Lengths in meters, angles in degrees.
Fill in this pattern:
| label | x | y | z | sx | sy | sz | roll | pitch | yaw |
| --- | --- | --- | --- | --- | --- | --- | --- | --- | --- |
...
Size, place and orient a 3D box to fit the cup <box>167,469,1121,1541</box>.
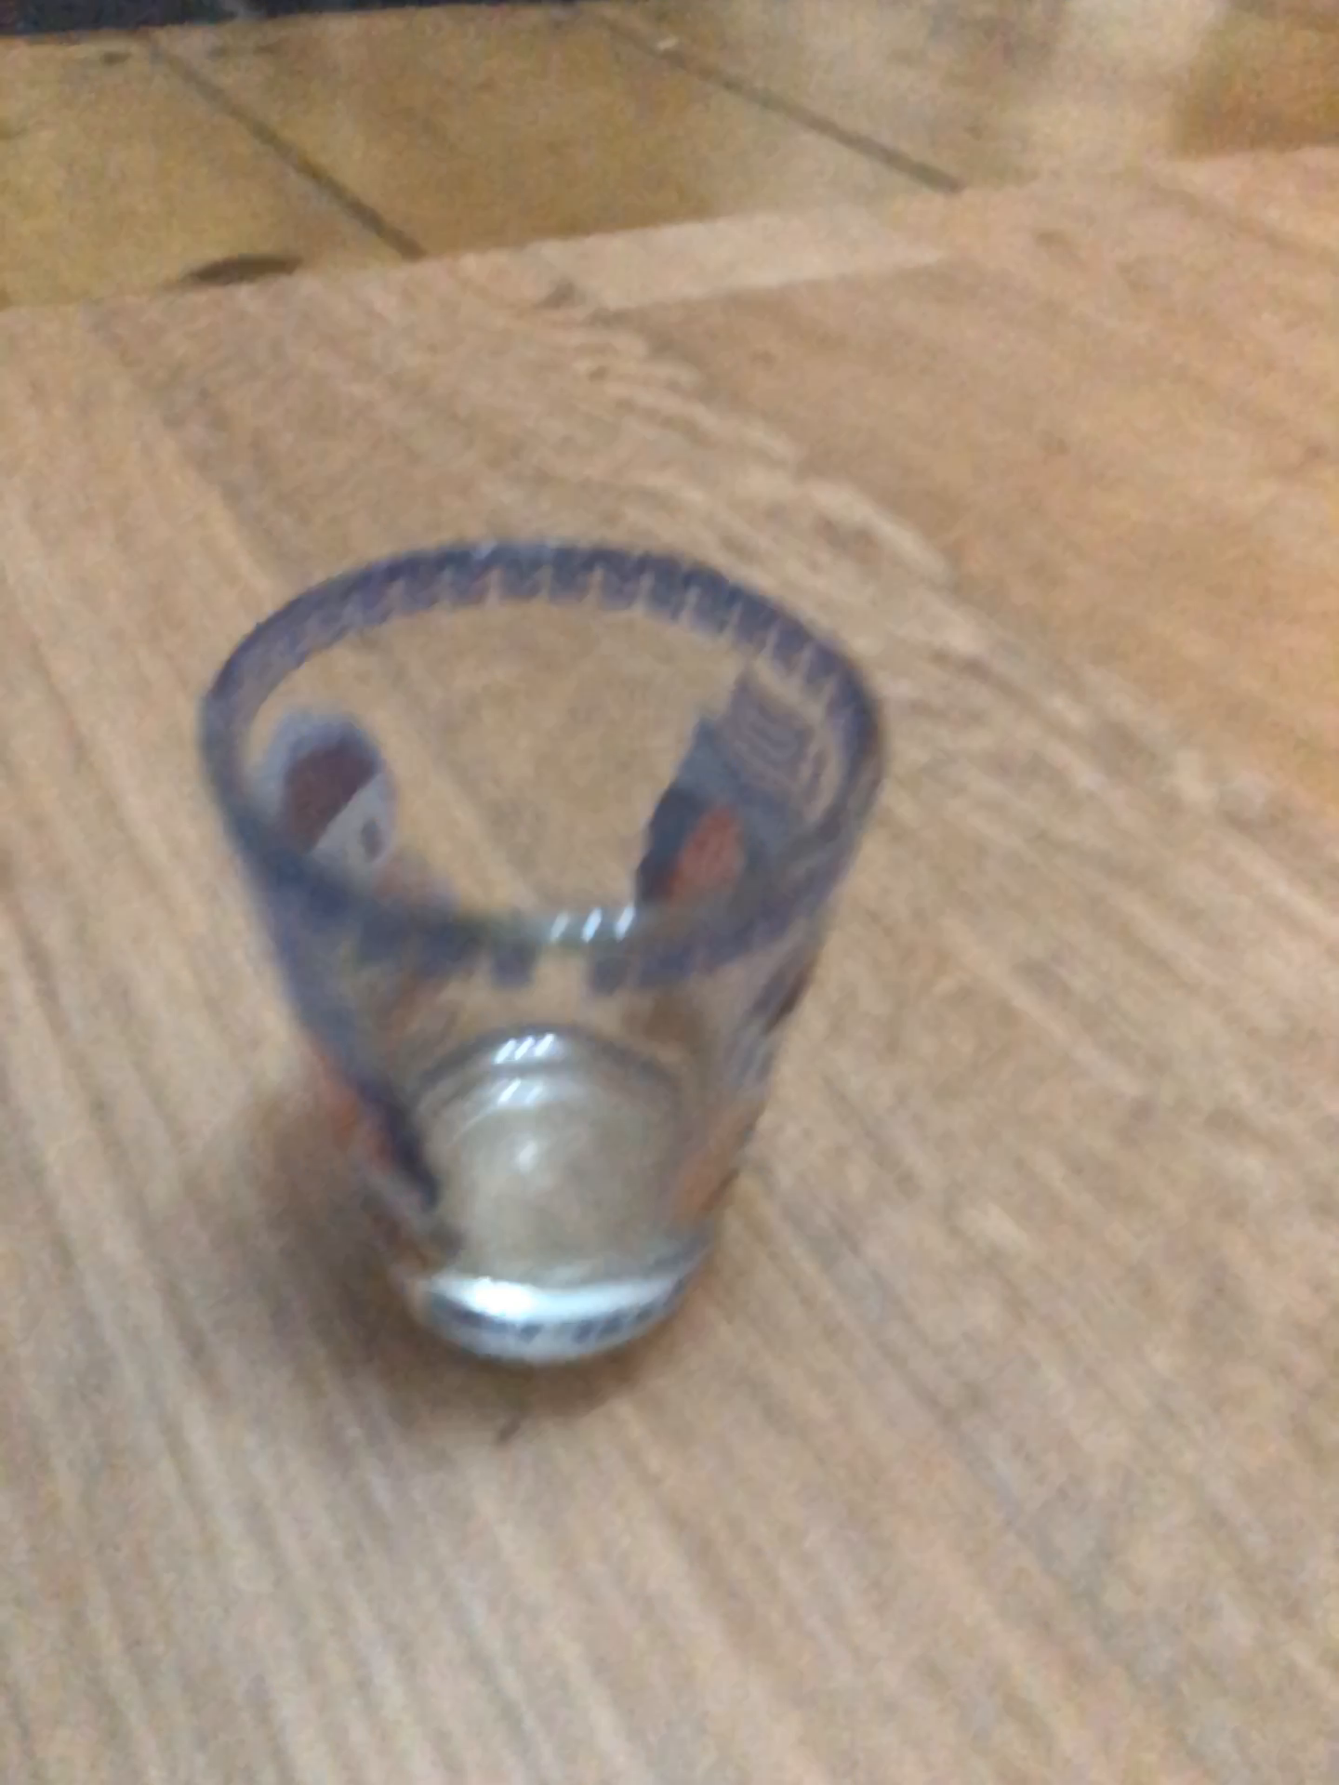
| label | x | y | z | sx | sy | sz | roll | pitch | yaw |
| --- | --- | --- | --- | --- | --- | --- | --- | --- | --- |
| cup | -0.005 | 0.007 | 0.125 | 0.050 | 0.060 | 0.050 | 2 | 41 | -2 |
